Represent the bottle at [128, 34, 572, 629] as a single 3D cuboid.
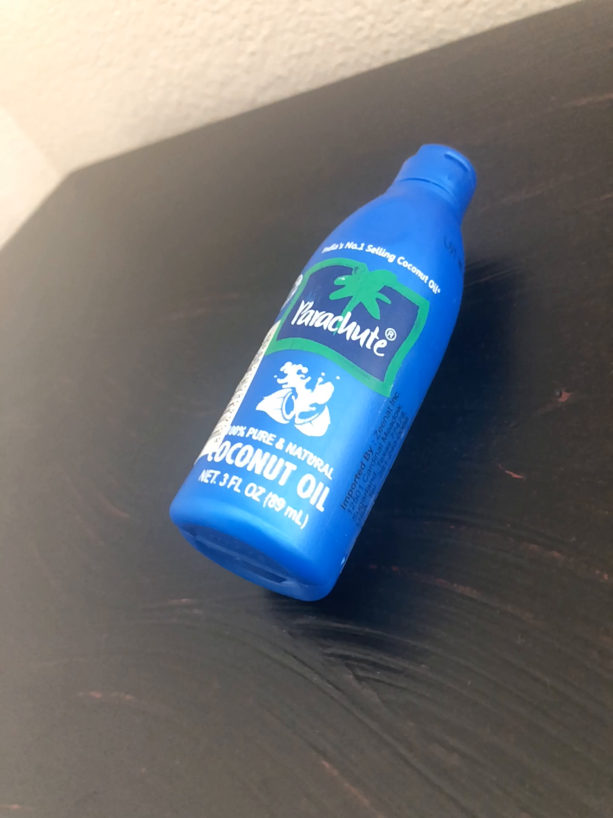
[{"bbox_3d":[0.018,-0.026,0.164,0.040,0.040,0.140,21,64,16],"label":"bottle"}]
